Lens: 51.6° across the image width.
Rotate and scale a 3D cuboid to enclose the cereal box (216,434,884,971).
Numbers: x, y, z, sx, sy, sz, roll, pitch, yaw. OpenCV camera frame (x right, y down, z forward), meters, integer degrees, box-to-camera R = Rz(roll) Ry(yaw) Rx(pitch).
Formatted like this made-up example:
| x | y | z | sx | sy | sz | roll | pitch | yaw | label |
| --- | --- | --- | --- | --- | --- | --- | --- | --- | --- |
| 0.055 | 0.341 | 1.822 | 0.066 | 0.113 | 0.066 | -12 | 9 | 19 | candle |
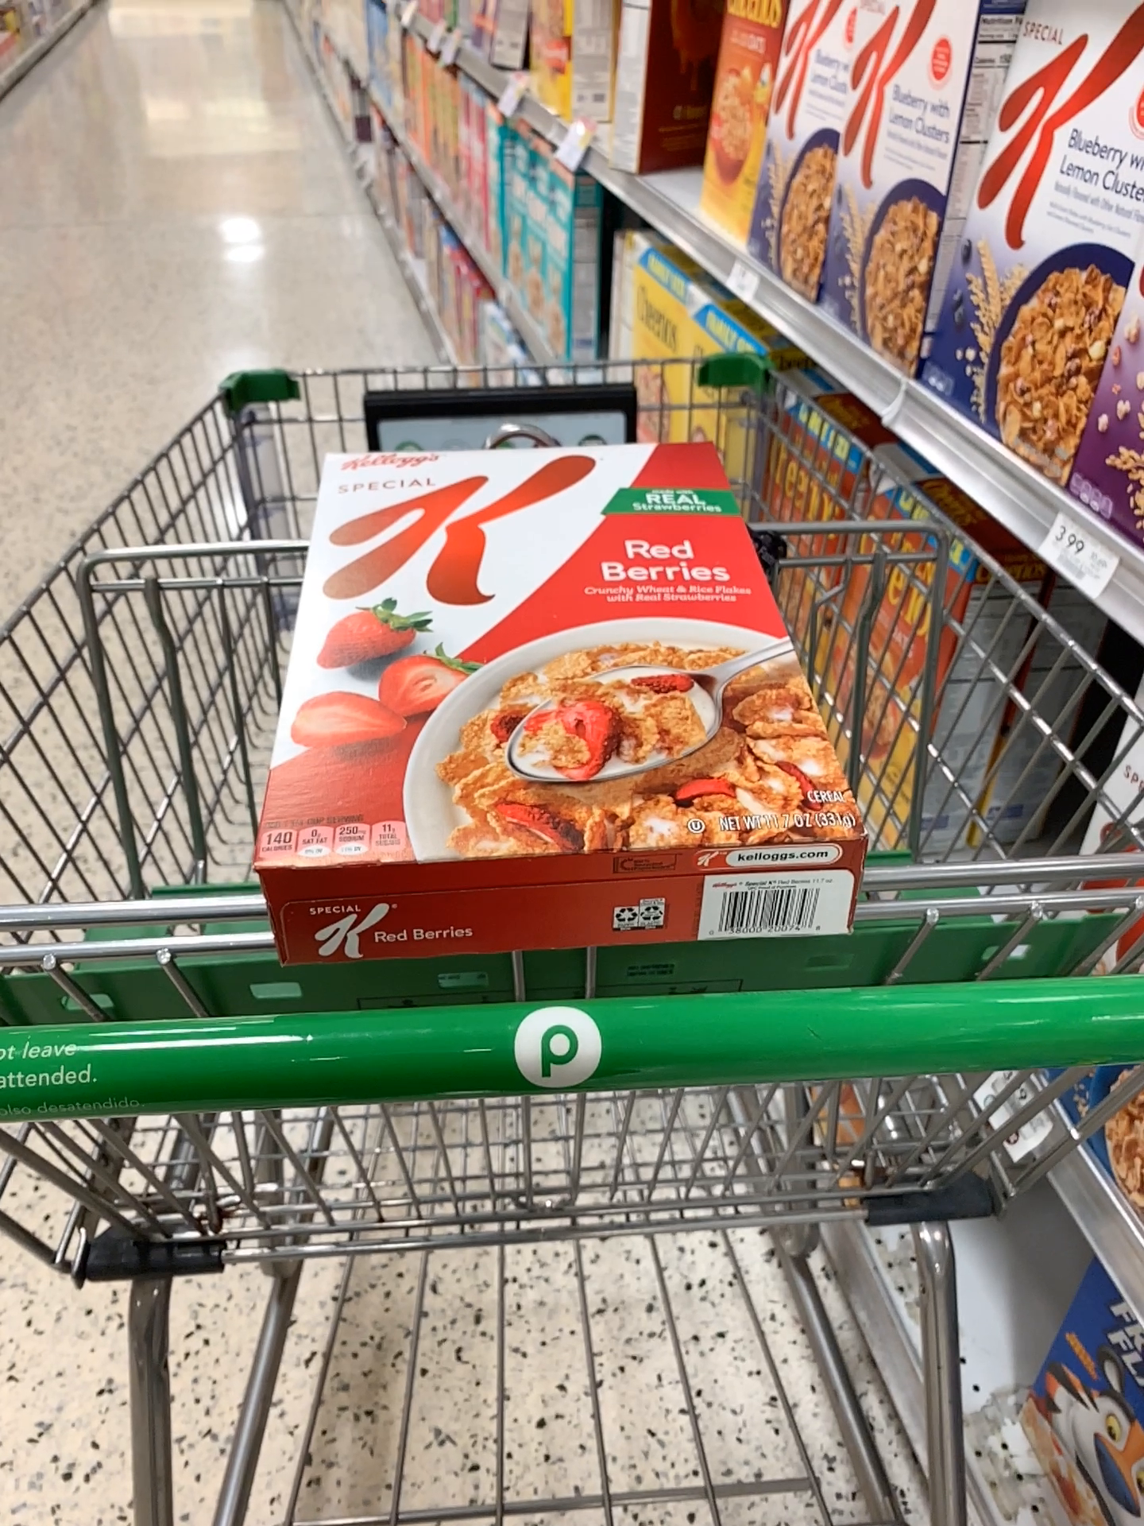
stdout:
| x | y | z | sx | sy | sz | roll | pitch | yaw | label |
| --- | --- | --- | --- | --- | --- | --- | --- | --- | --- |
| -0.016 | -0.047 | 0.478 | 0.200 | 0.049 | 0.283 | -2 | 40 | -4 | cereal box |
